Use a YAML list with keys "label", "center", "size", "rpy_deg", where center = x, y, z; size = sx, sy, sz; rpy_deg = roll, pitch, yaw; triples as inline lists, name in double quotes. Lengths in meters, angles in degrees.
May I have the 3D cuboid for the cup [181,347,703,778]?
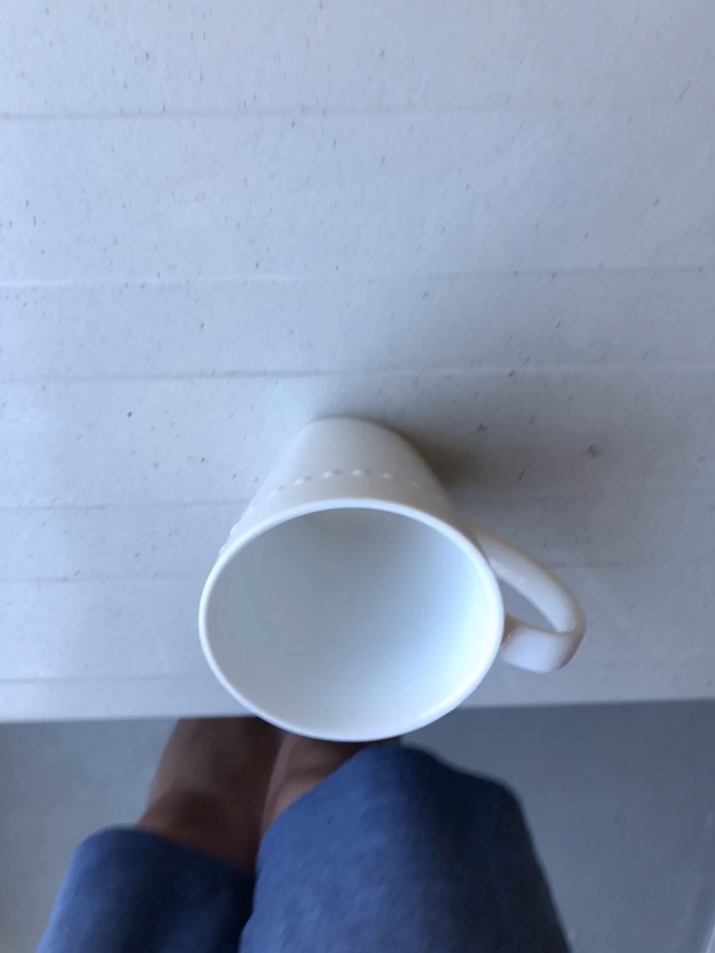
- label: "cup"
  center: [0.019, 0.027, 0.286]
  size: [0.140, 0.100, 0.100]
  rpy_deg: [8, 115, -7]
